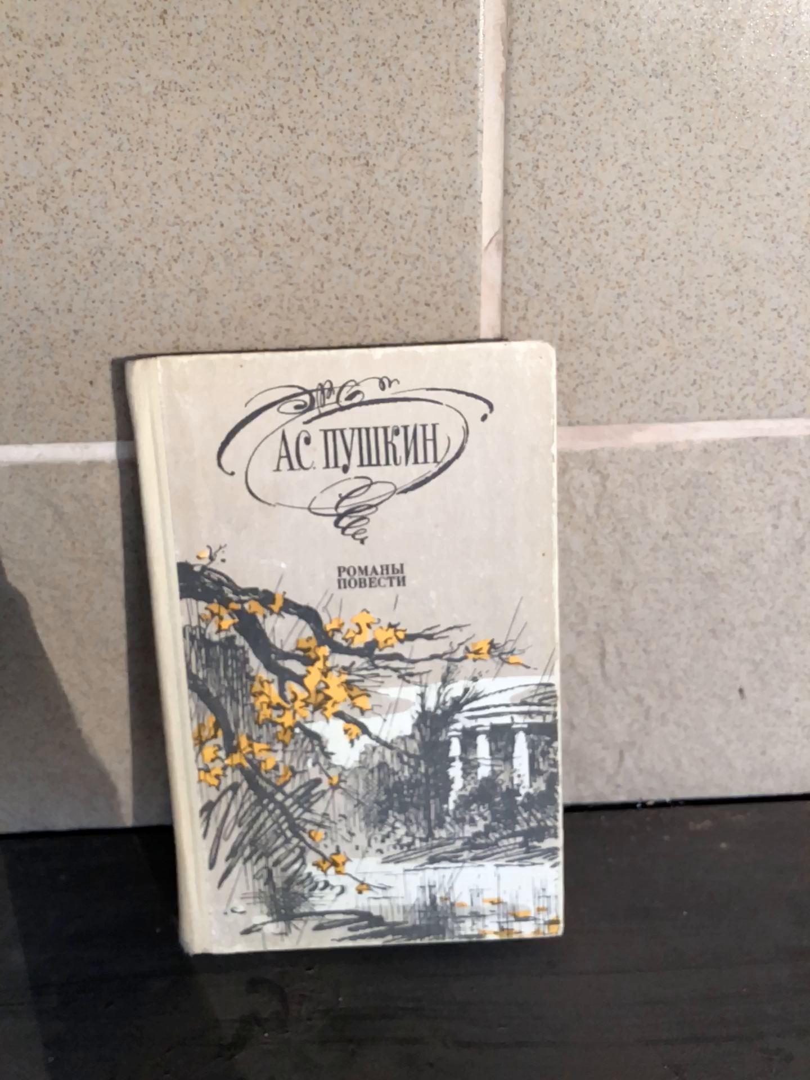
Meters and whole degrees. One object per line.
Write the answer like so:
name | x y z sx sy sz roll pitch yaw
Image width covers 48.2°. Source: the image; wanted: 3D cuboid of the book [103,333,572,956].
book | -0.015 0.039 0.287 0.130 0.198 0.020 -2 15 0
